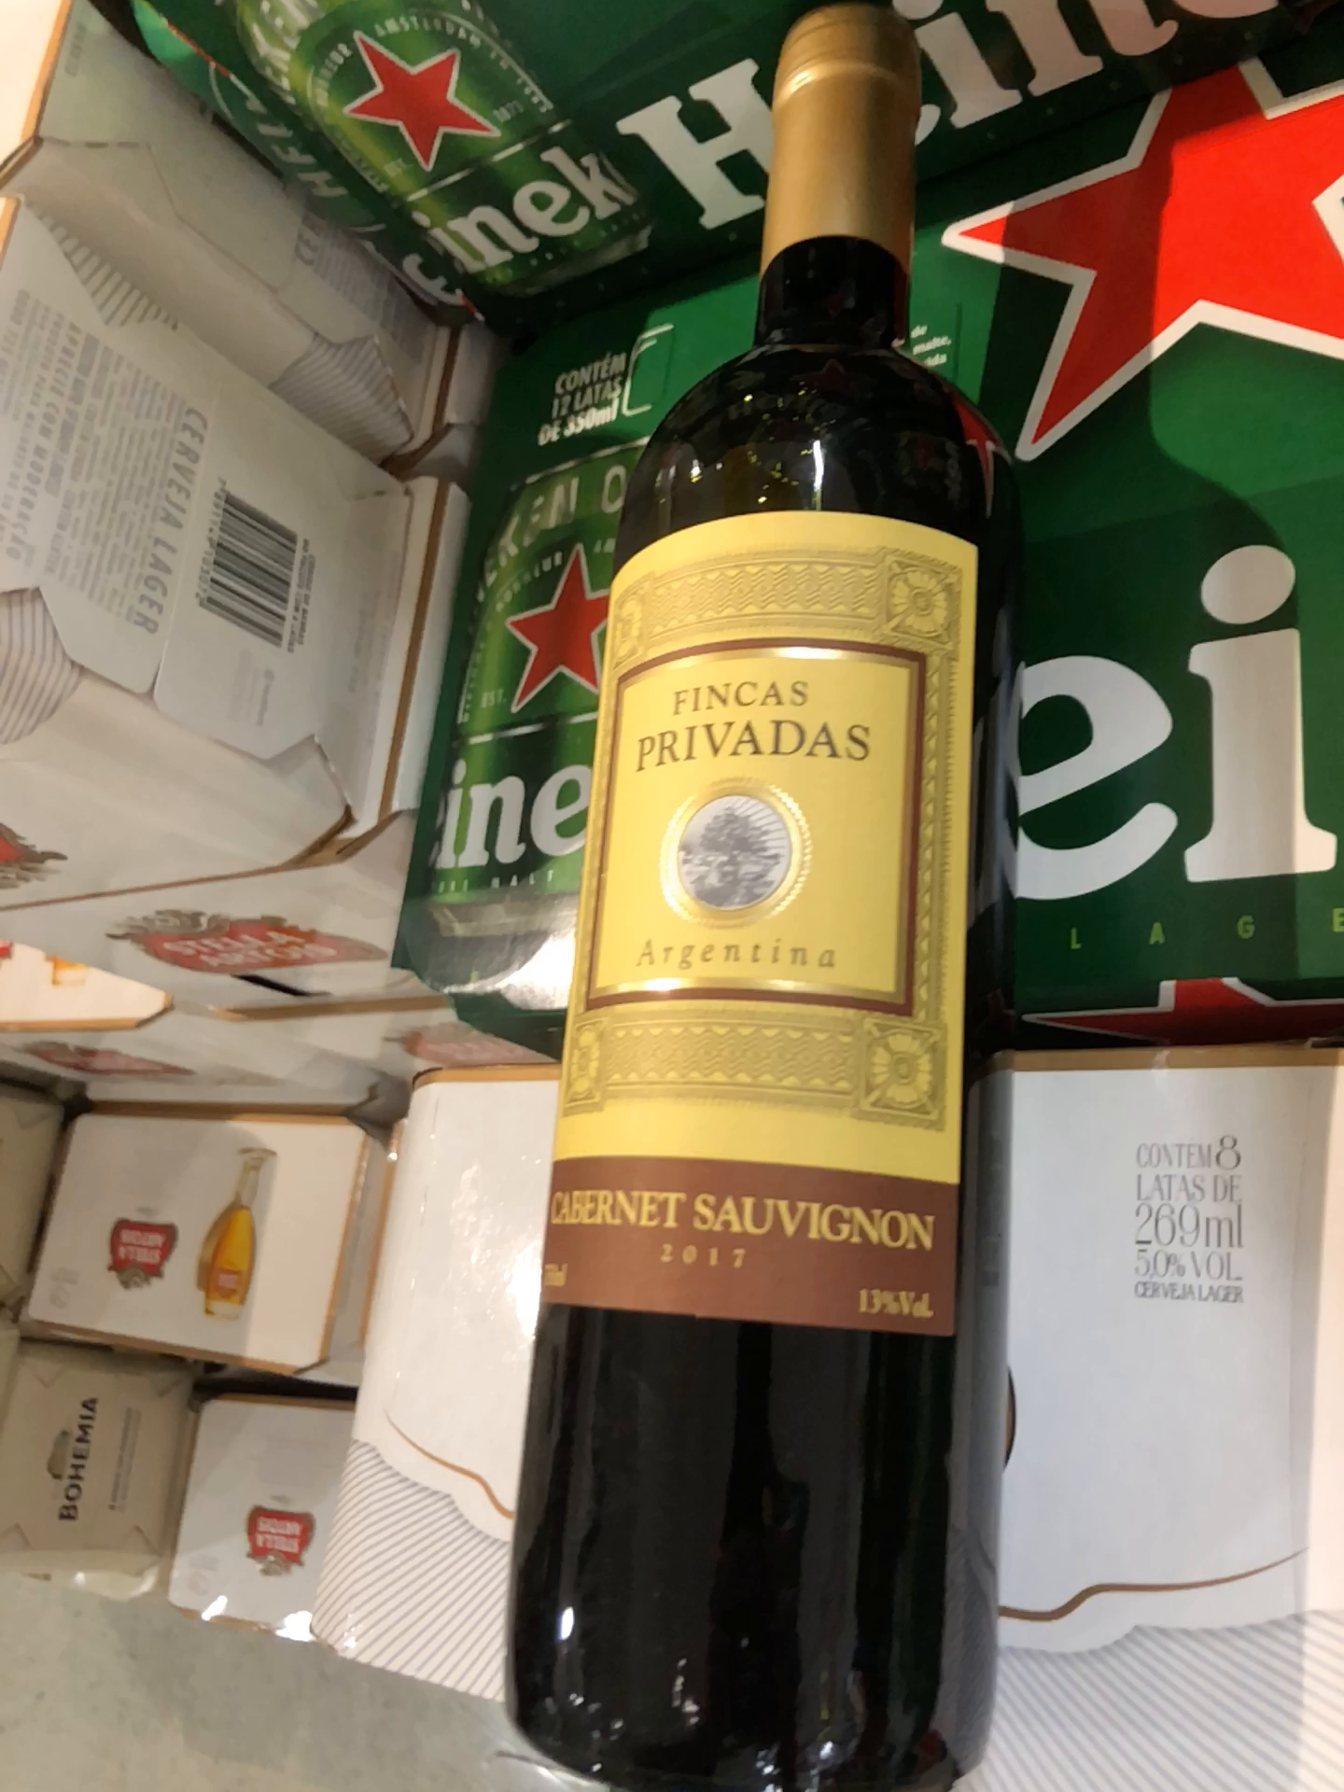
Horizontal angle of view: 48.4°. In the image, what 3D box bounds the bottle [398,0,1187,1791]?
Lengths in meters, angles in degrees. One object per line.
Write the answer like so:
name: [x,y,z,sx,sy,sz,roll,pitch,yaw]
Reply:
bottle: [0.034,-0.031,0.255,0.080,0.060,0.331,-5,68,35]
